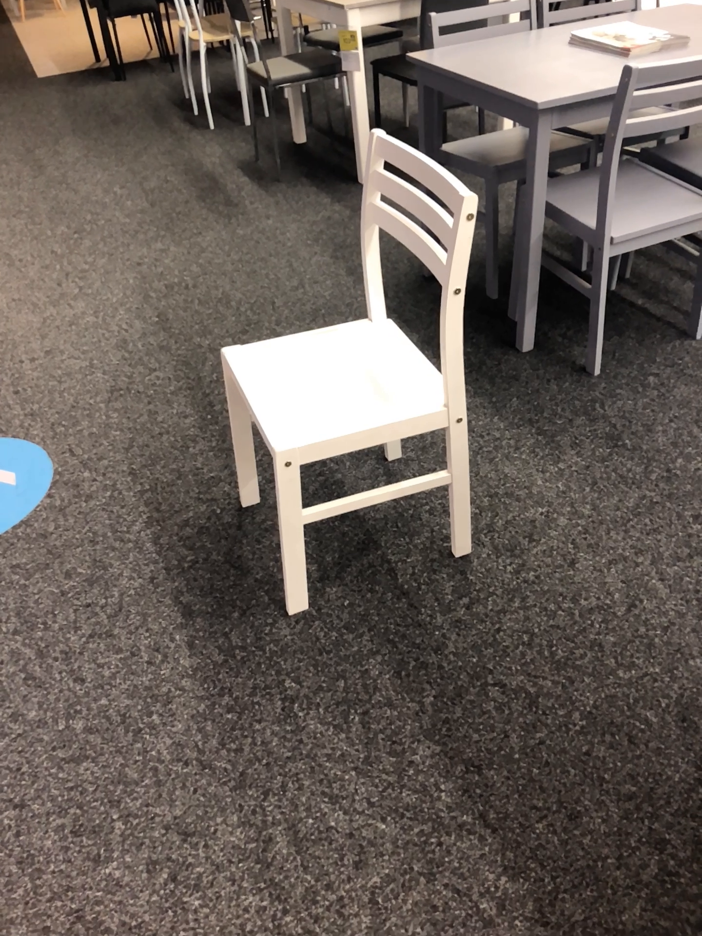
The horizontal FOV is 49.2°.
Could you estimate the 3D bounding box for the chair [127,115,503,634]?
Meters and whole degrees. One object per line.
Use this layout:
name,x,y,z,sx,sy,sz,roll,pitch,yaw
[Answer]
chair,-0.054,-0.188,1.506,0.501,0.766,0.502,-17,39,-12
